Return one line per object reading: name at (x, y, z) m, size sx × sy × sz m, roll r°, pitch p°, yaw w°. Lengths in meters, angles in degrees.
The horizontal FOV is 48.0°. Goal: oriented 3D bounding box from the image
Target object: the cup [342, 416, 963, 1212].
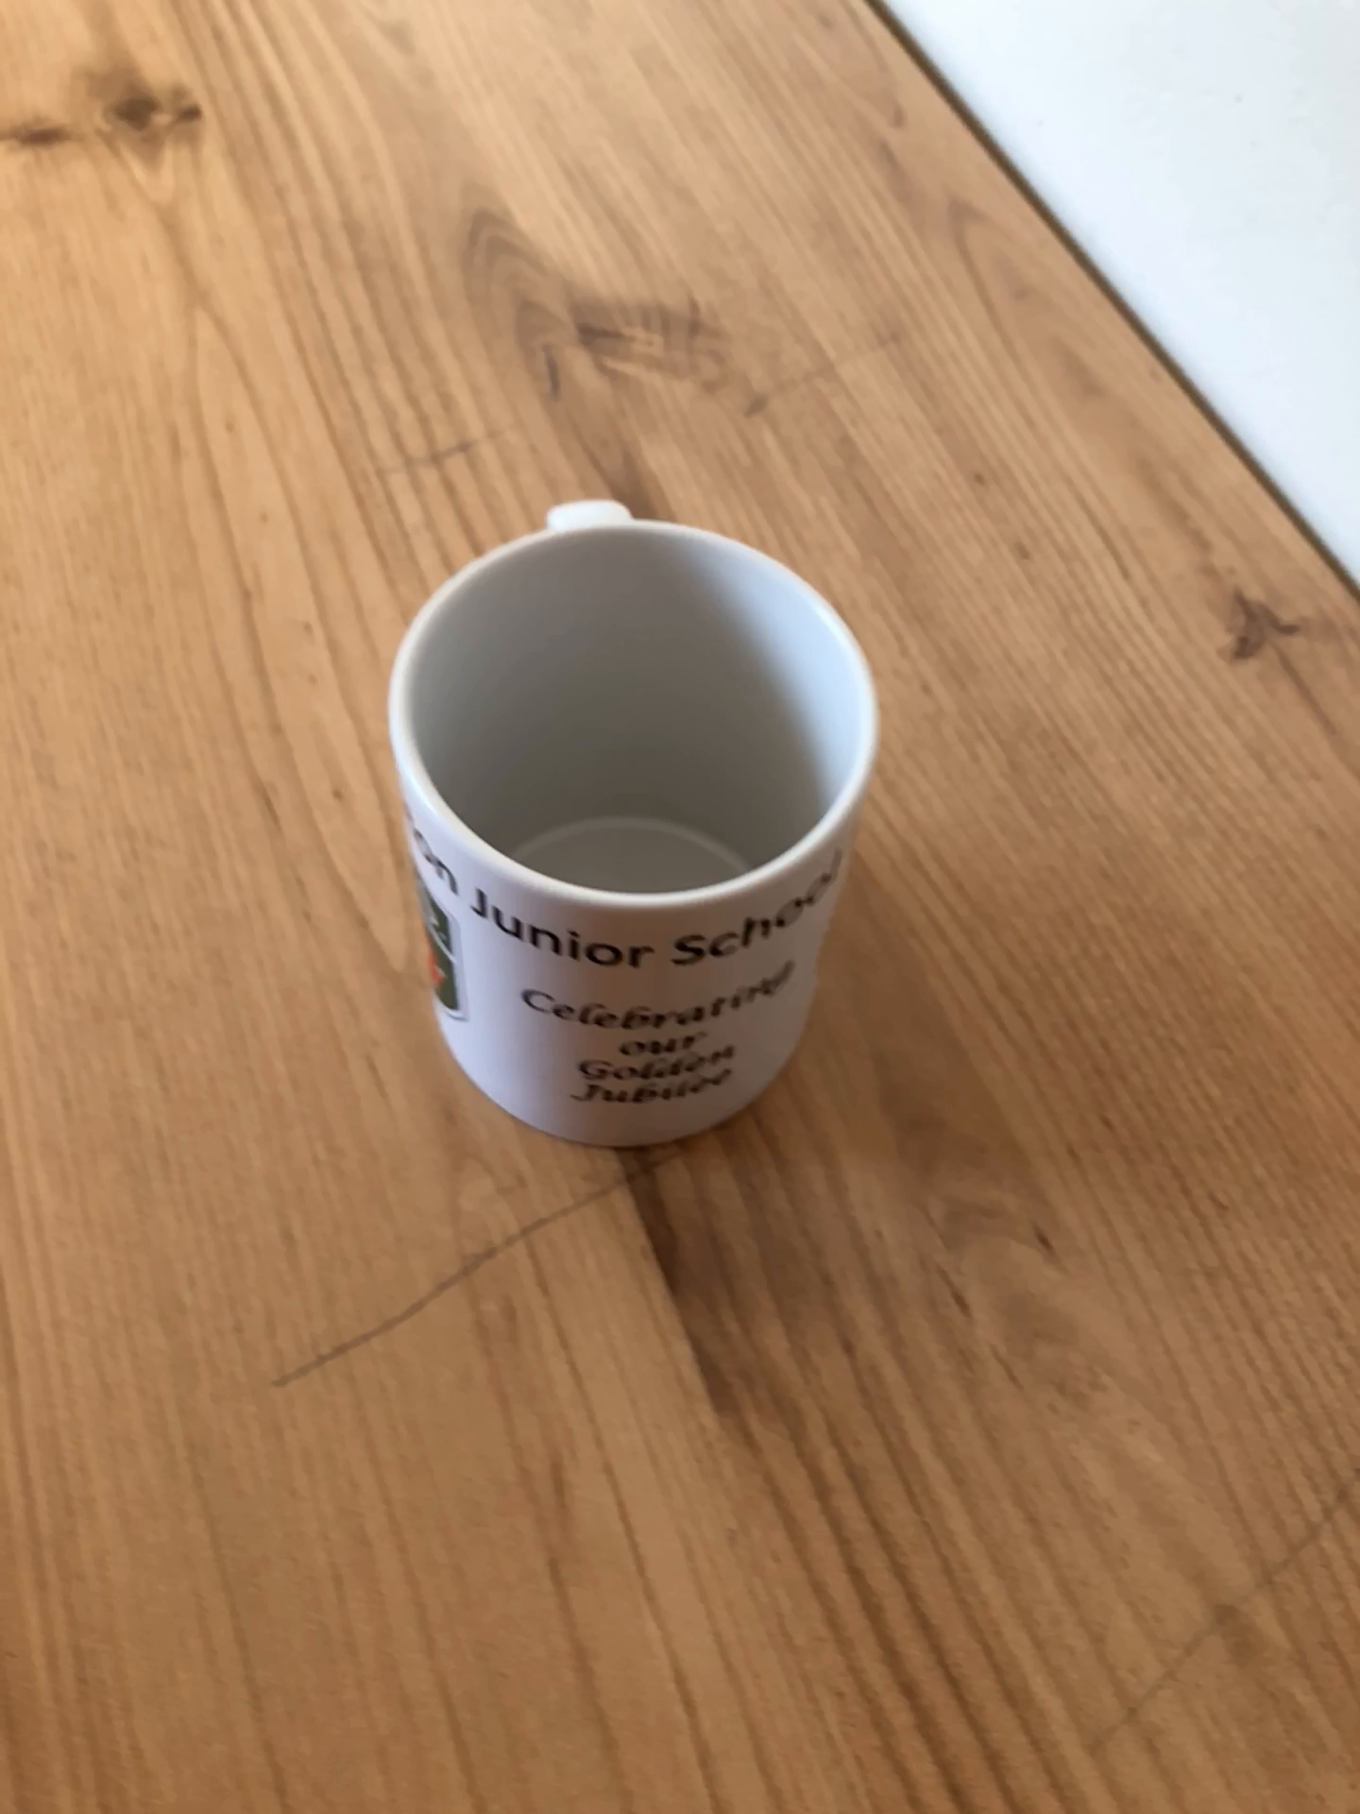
cup at (-0.013, -0.019, 0.298) m, size 0.083 × 0.096 × 0.110 m, roll -8°, pitch 55°, yaw -12°
